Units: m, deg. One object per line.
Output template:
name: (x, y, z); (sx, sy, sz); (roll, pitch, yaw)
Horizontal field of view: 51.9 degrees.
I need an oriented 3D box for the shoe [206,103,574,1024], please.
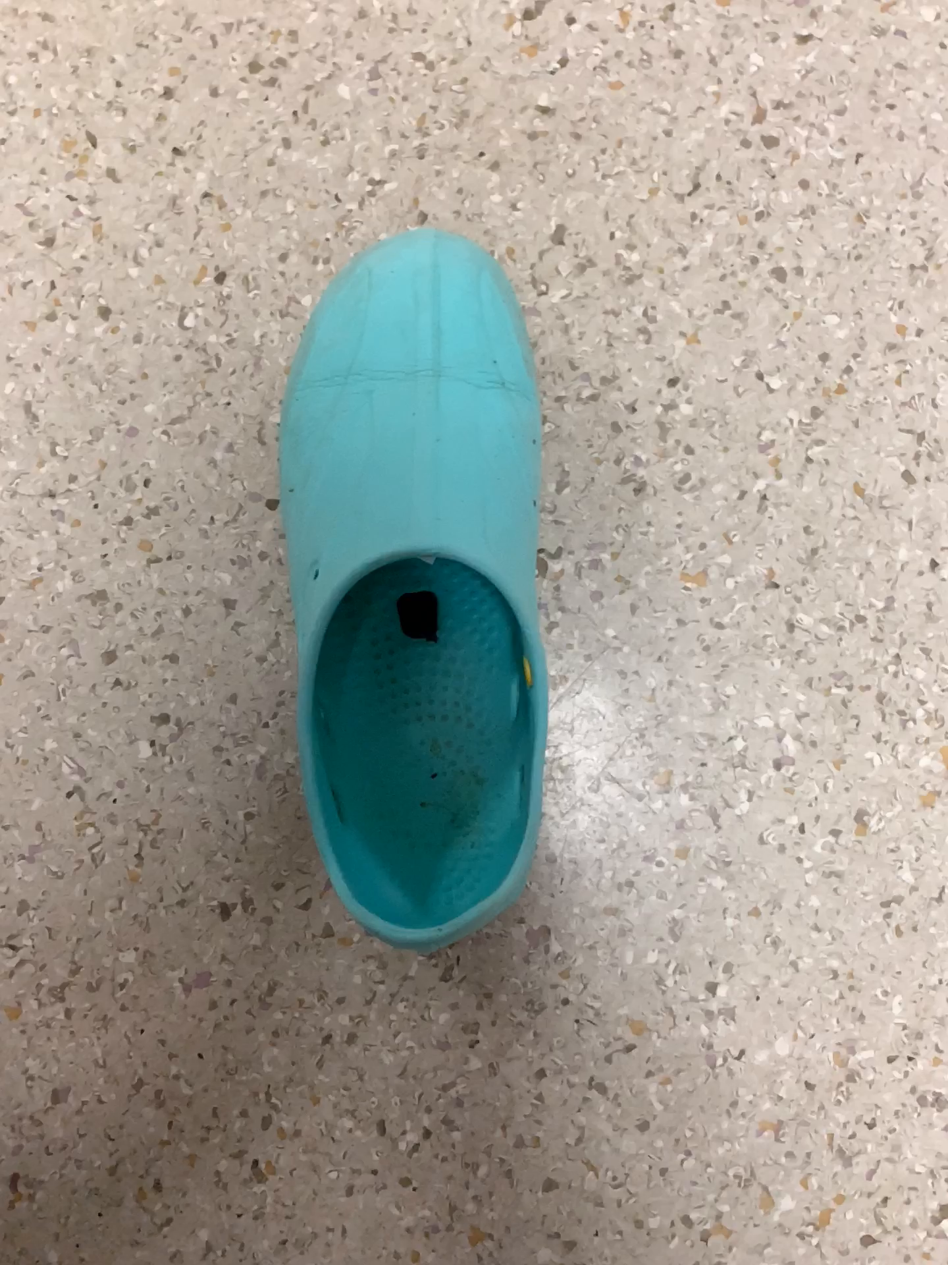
shoe: (-0.025, -0.021, 0.346); (0.105, 0.106, 0.275); (-1, 89, 2)
